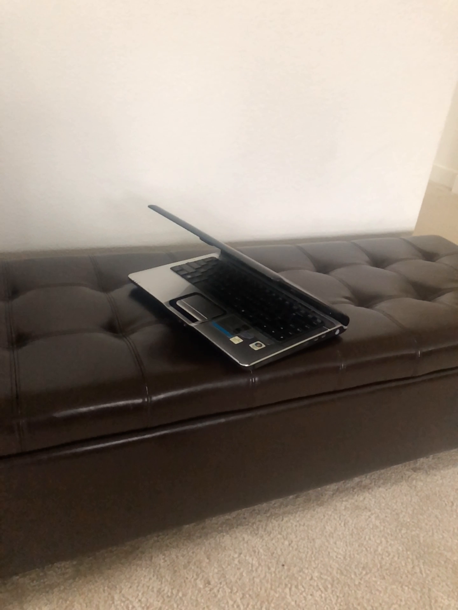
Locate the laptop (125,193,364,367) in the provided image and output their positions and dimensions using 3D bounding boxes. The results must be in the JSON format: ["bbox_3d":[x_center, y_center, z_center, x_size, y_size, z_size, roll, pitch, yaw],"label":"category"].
[{"bbox_3d":[0.010,-0.068,0.836,0.230,0.122,0.333,-17,36,-37],"label":"laptop"}]
